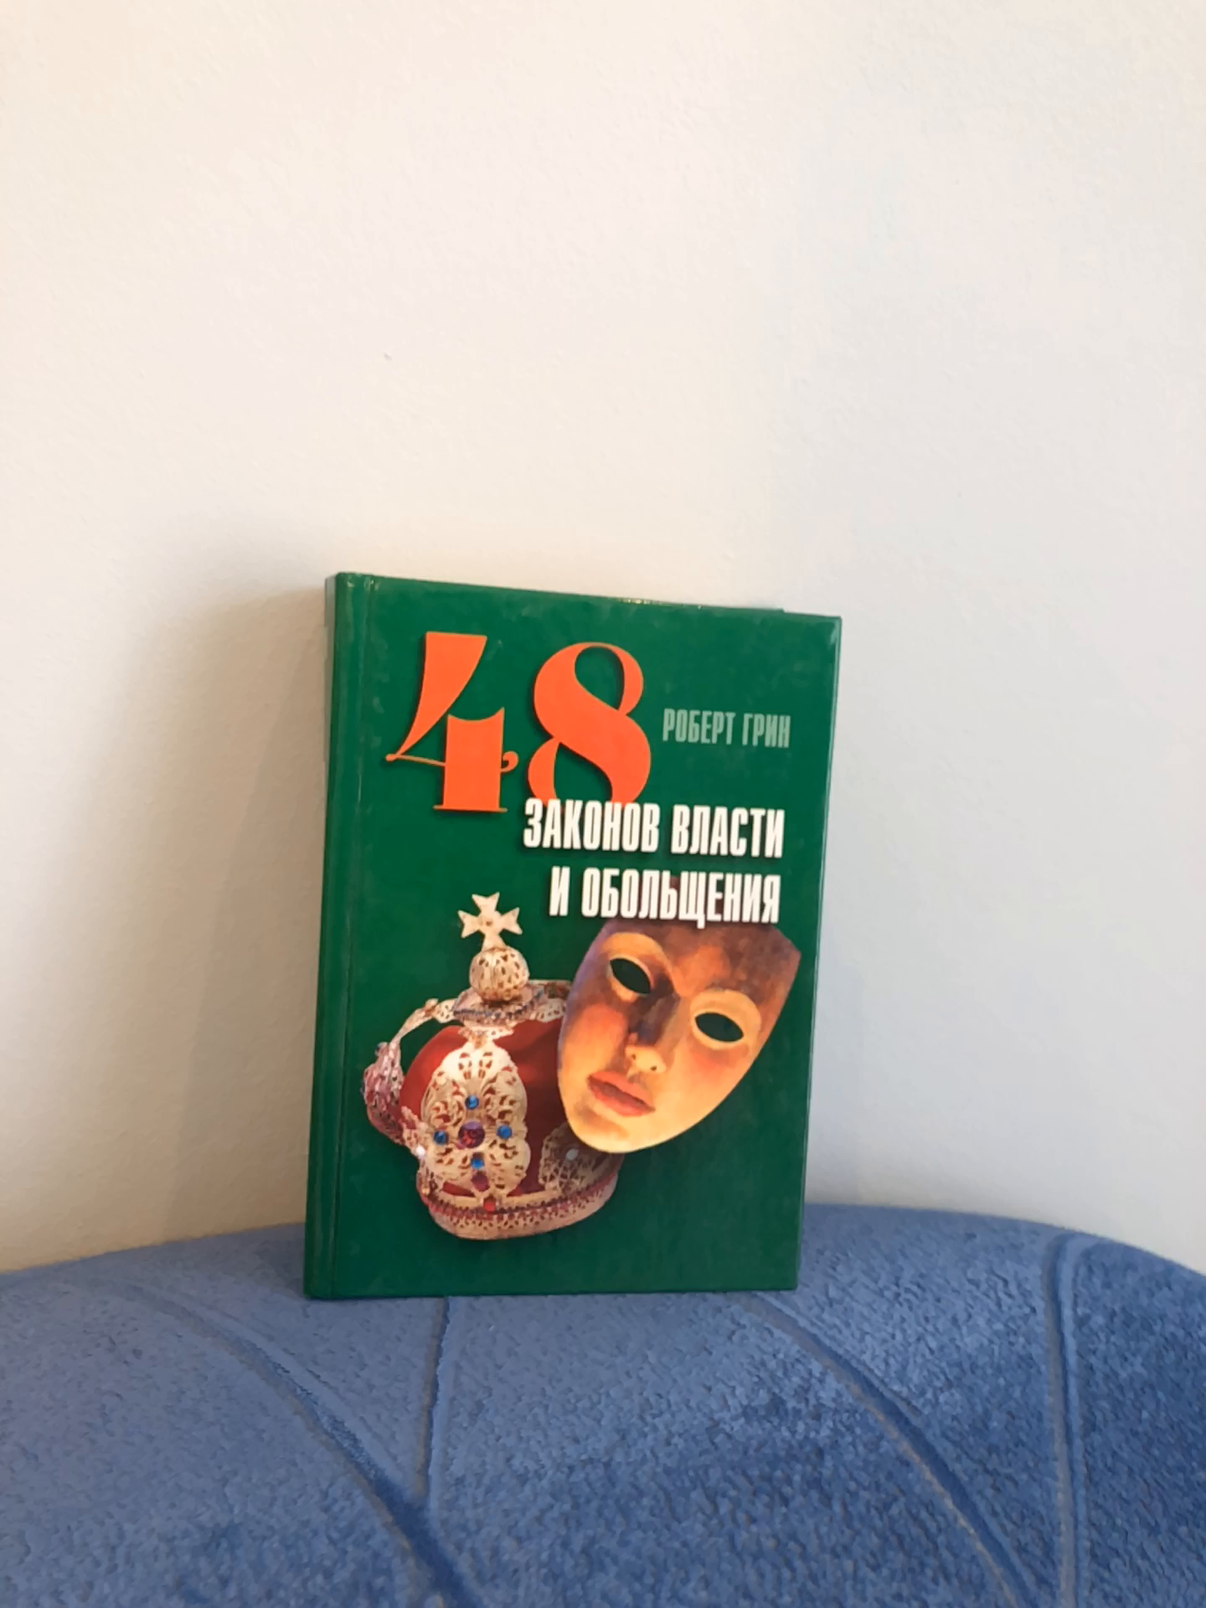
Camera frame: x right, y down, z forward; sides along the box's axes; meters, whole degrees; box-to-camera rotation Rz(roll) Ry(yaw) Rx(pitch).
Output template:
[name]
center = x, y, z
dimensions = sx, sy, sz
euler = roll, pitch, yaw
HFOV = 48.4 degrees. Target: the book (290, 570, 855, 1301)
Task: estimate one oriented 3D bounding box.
[book]
center = -0.009, 0.026, 0.288
dimensions = 0.106, 0.141, 0.050
euler = 2, 4, -7
